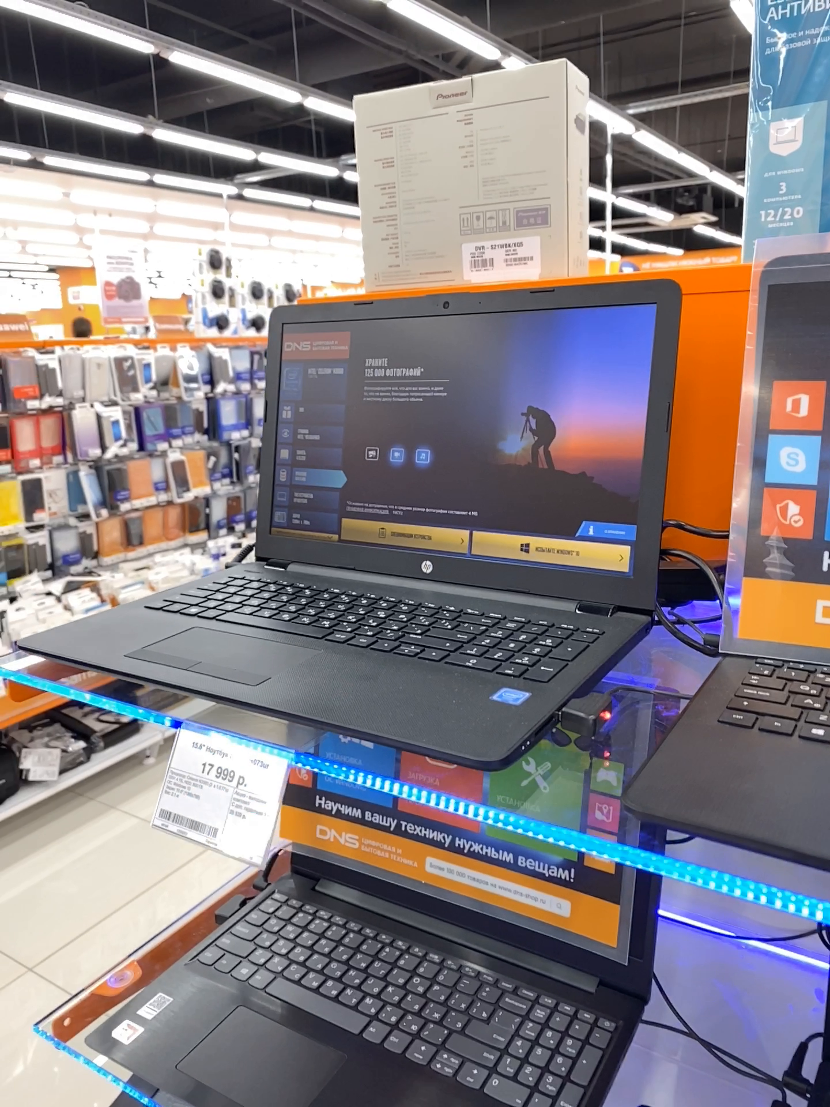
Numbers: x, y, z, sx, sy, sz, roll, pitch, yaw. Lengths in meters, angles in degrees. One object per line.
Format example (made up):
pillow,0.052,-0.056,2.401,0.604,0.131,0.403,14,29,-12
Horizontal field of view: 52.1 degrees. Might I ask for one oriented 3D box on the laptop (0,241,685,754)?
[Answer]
laptop,-0.041,-0.071,0.625,0.389,0.236,0.322,6,15,32
